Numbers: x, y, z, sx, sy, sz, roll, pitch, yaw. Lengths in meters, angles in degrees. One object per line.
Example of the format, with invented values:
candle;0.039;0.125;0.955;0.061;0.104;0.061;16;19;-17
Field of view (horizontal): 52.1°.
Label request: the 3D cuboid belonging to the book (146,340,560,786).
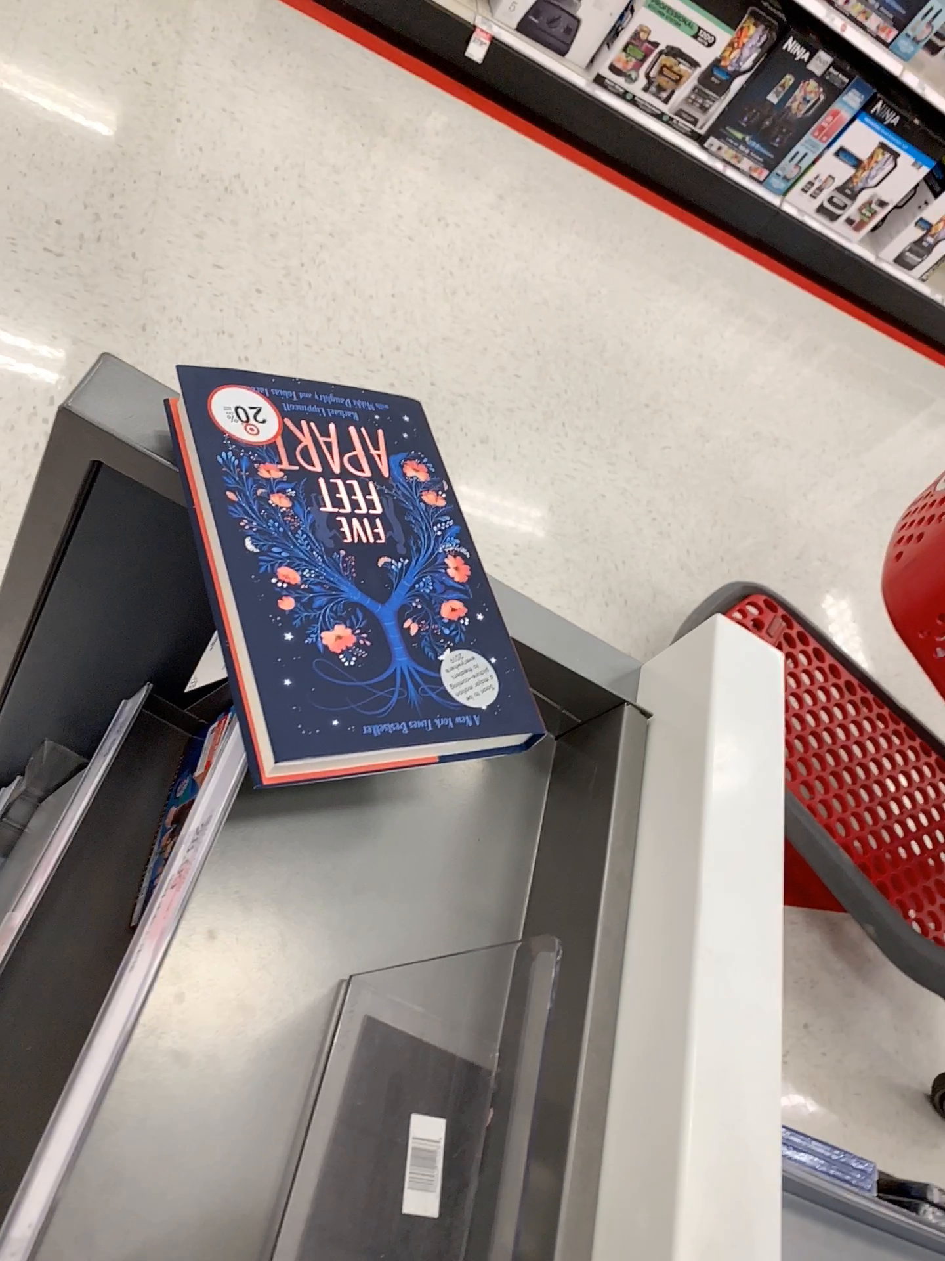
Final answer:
book;-0.061;-0.039;0.471;0.151;0.028;0.220;0;58;-37
